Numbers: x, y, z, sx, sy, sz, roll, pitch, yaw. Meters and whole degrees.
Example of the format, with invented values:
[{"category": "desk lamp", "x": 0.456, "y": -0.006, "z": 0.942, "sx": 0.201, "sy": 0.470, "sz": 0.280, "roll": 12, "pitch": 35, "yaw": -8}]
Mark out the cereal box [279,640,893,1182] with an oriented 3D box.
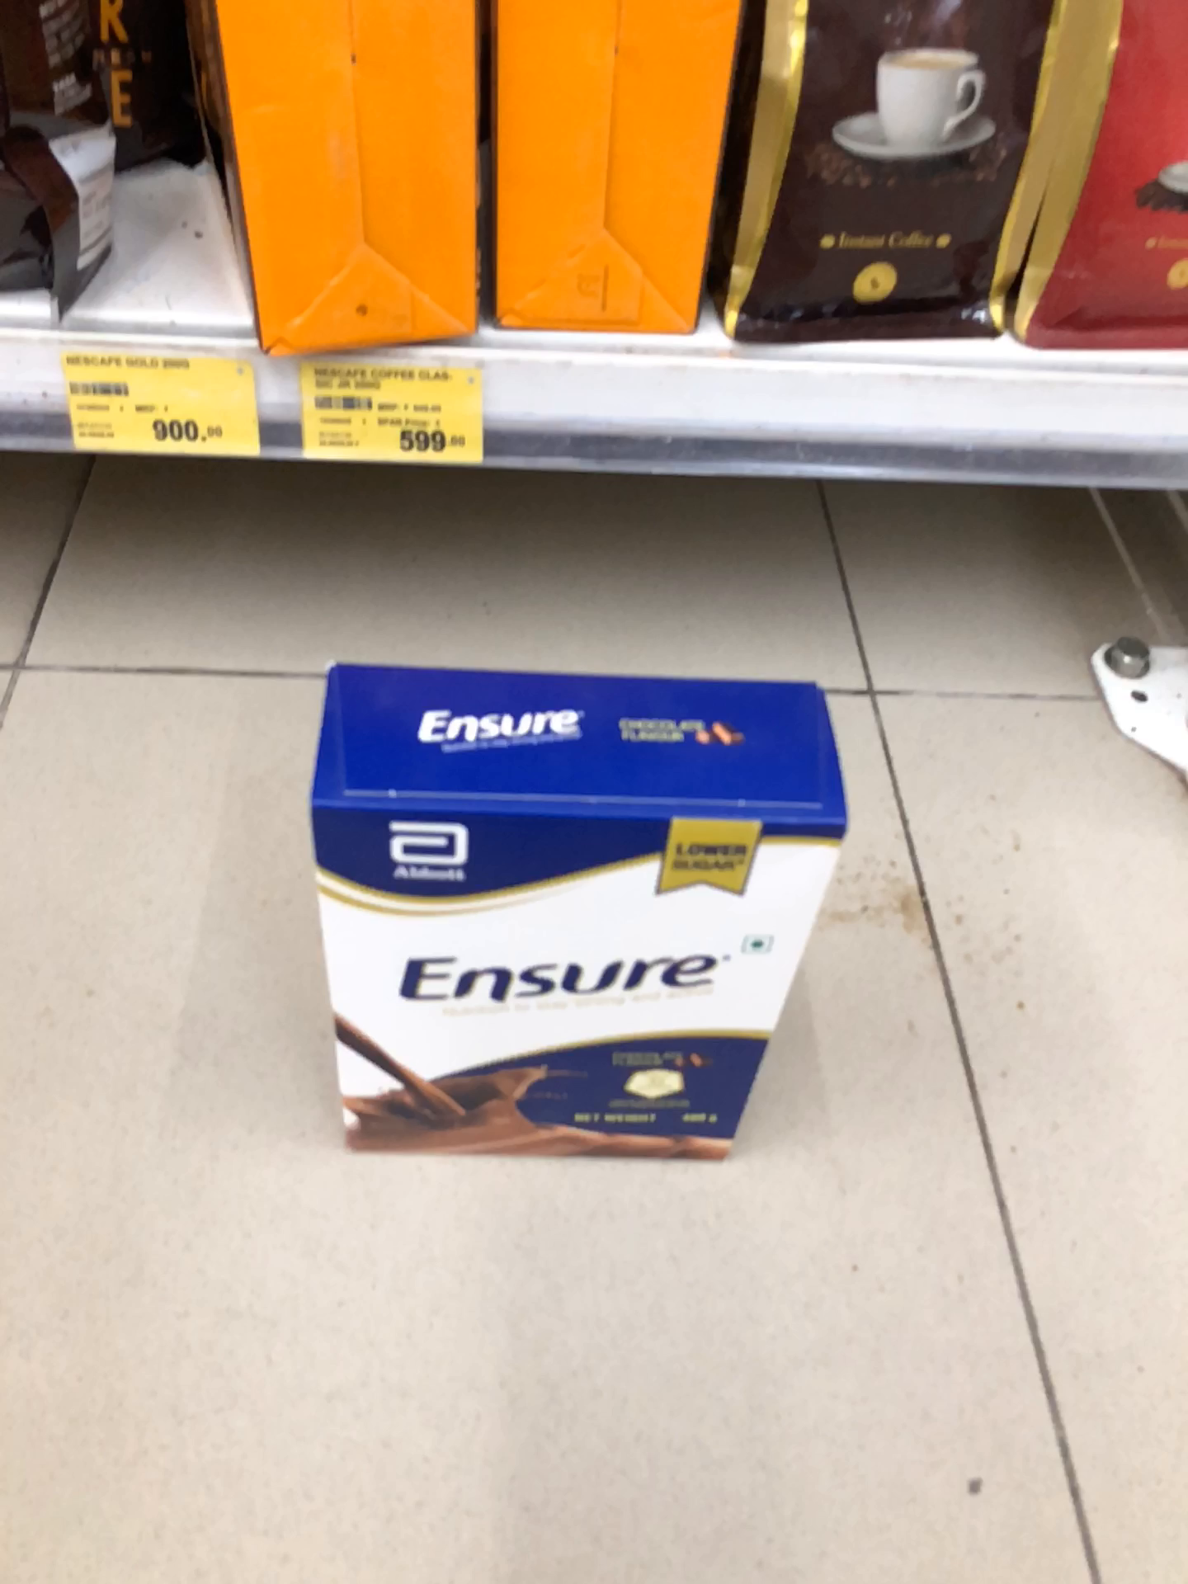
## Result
[{"category": "cereal box", "x": -0.006, "y": 0.046, "z": 0.383, "sx": 0.140, "sy": 0.179, "sz": 0.060, "roll": 3, "pitch": 49, "yaw": -2}]
